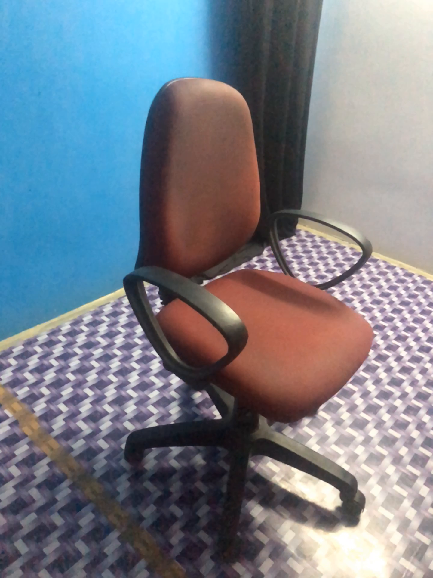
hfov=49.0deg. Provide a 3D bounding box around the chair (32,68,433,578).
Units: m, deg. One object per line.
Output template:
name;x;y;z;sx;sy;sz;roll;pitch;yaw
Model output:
chair;0.126;0.030;1.107;0.741;0.895;0.703;30;37;35
